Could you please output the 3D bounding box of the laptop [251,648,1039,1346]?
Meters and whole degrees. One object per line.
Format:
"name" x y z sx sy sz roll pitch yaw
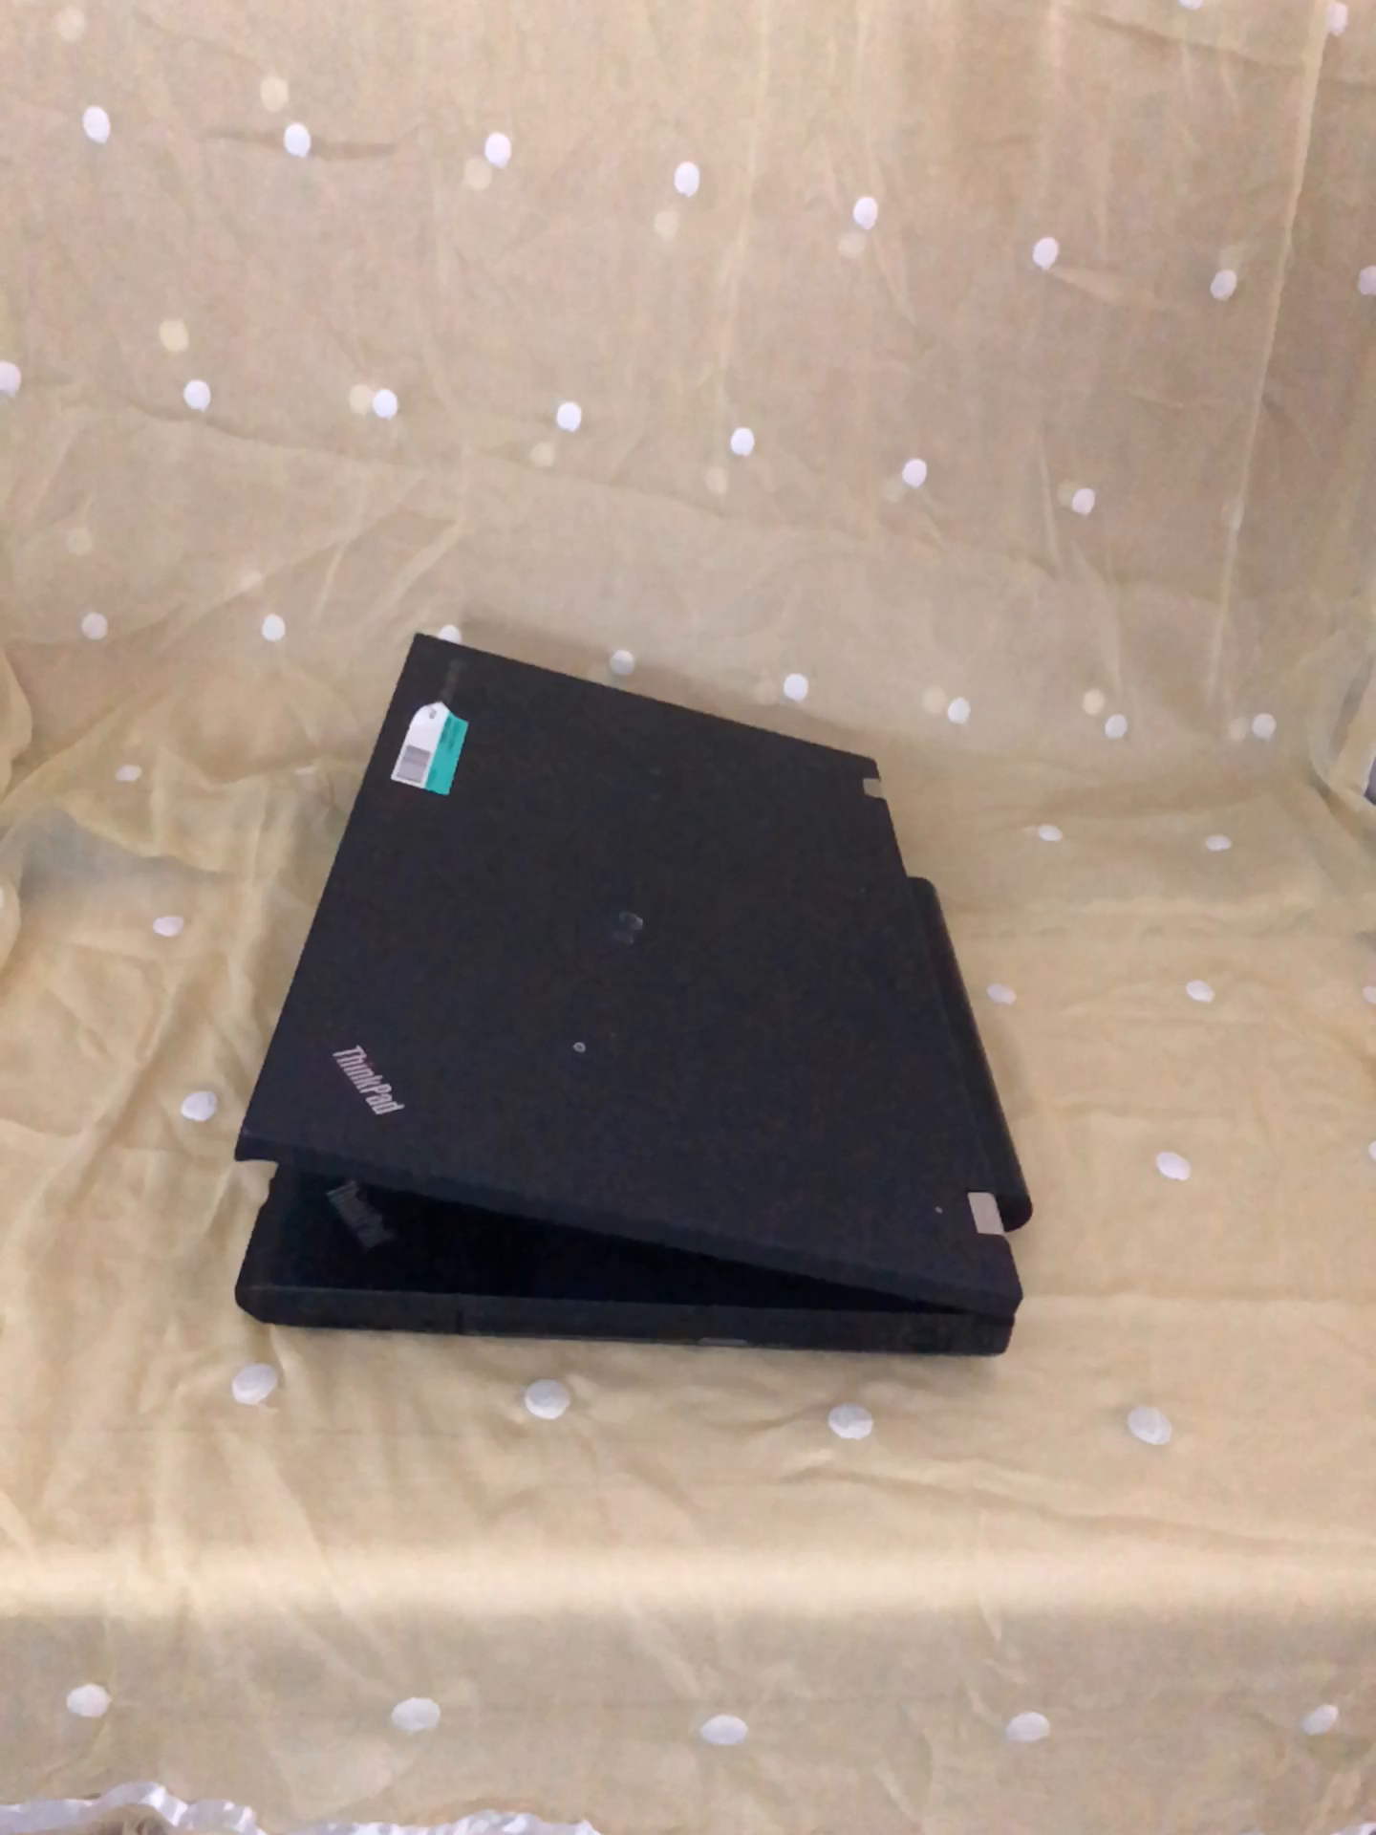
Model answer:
"laptop" -0.016 -0.001 0.594 0.225 0.050 0.358 3 33 -2
